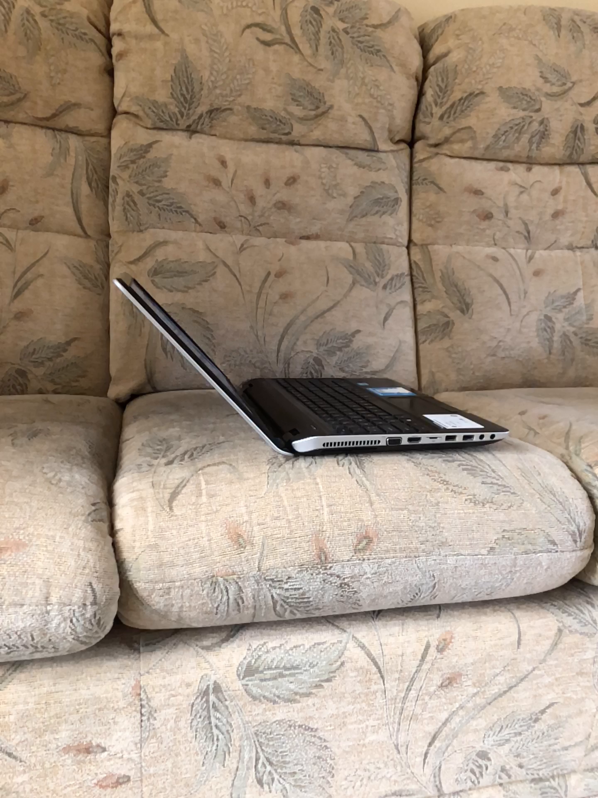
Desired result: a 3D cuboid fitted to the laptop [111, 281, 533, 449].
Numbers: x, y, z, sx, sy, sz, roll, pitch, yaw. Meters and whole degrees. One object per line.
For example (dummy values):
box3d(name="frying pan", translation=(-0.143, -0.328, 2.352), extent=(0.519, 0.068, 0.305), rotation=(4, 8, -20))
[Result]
box3d(name="laptop", translation=(-0.005, -0.064, 0.826), extent=(0.410, 0.151, 0.397), rotation=(-1, 11, -14))
